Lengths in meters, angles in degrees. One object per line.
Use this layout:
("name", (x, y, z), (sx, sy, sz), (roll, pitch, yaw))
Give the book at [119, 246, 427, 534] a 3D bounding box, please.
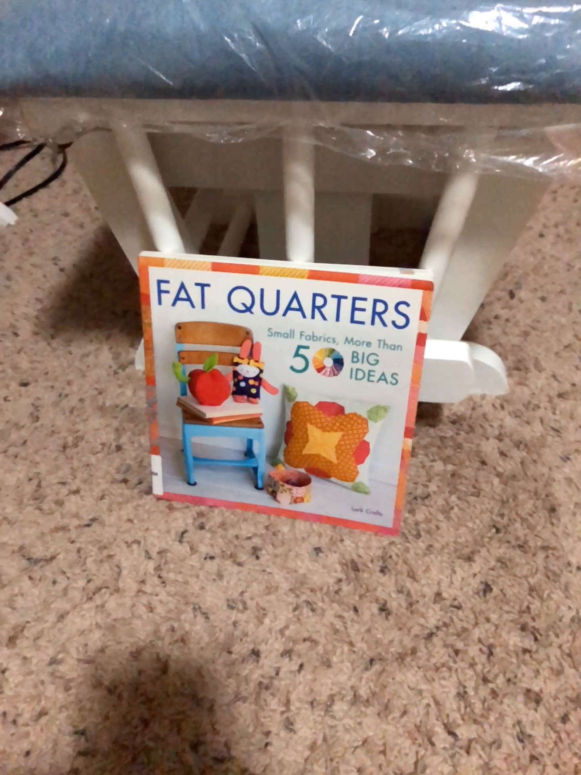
("book", (-0.016, 0.003, 0.475), (0.207, 0.193, 0.030), (7, 24, 11))
